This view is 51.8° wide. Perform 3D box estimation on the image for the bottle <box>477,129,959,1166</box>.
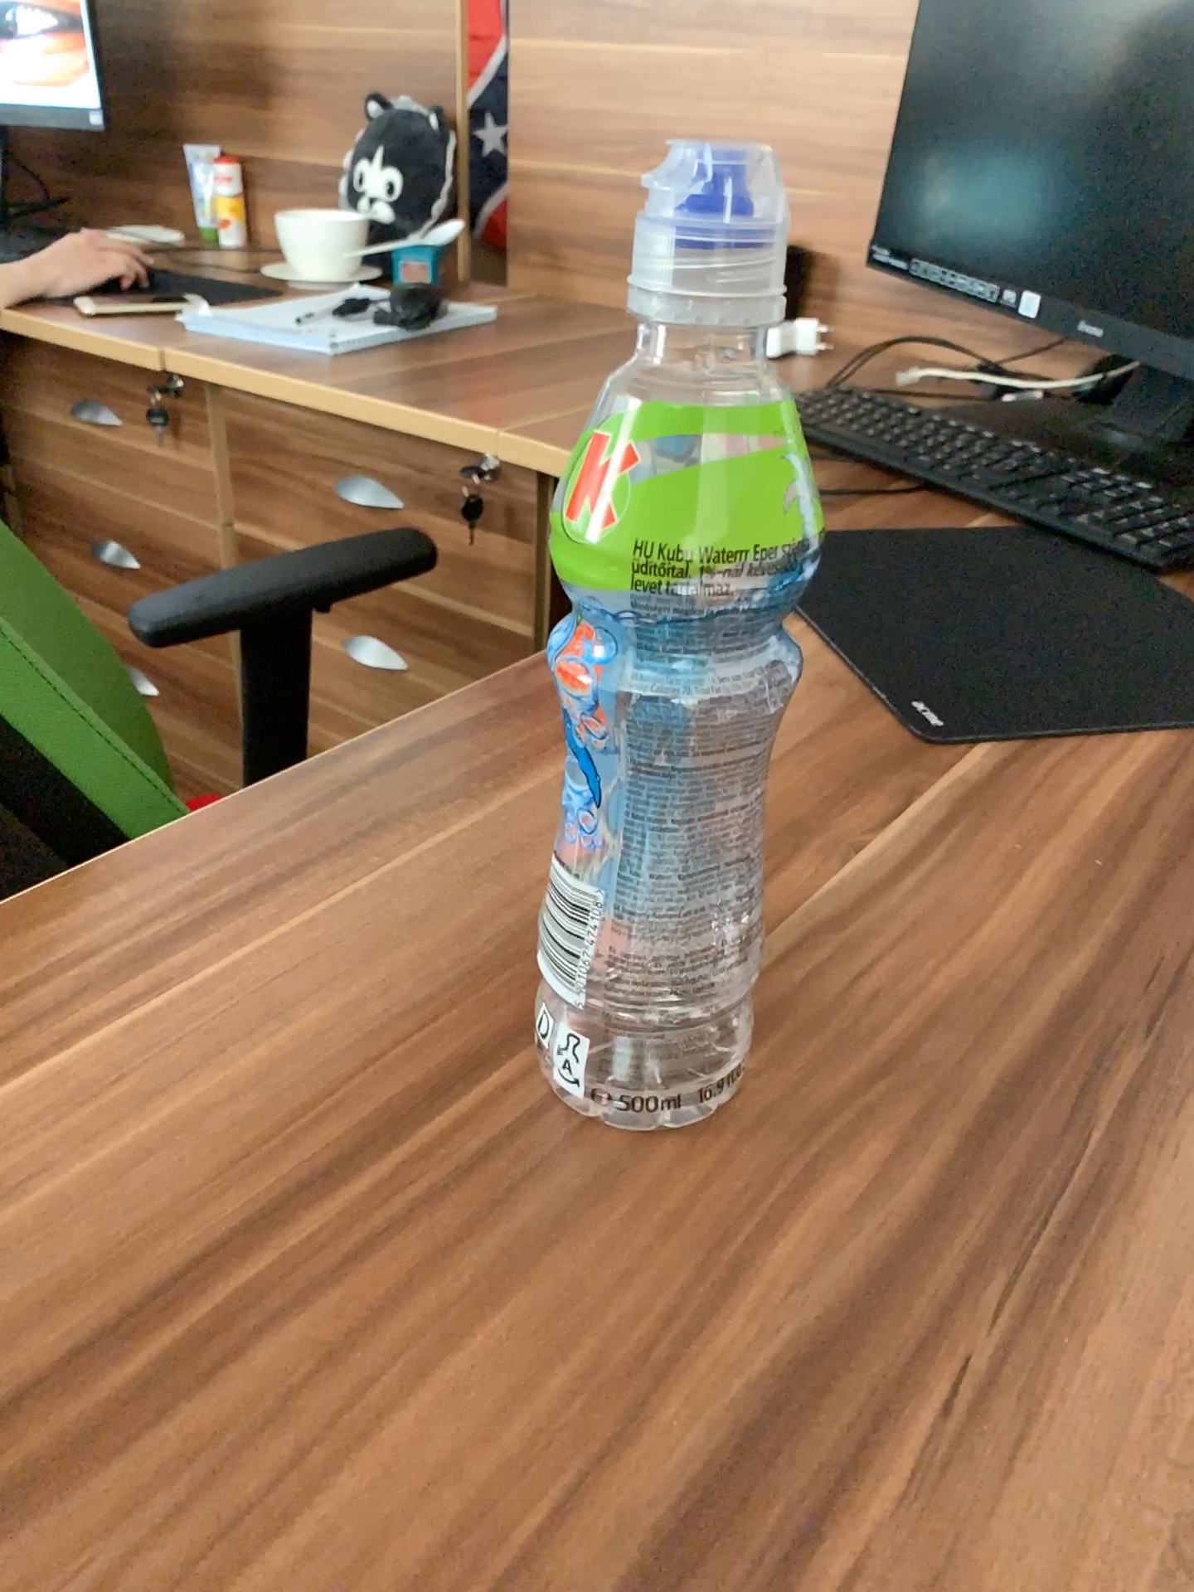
[{"bbox_3d":[0.016,-0.028,0.308,0.070,0.239,0.070,3,30,-2],"label":"bottle"}]
